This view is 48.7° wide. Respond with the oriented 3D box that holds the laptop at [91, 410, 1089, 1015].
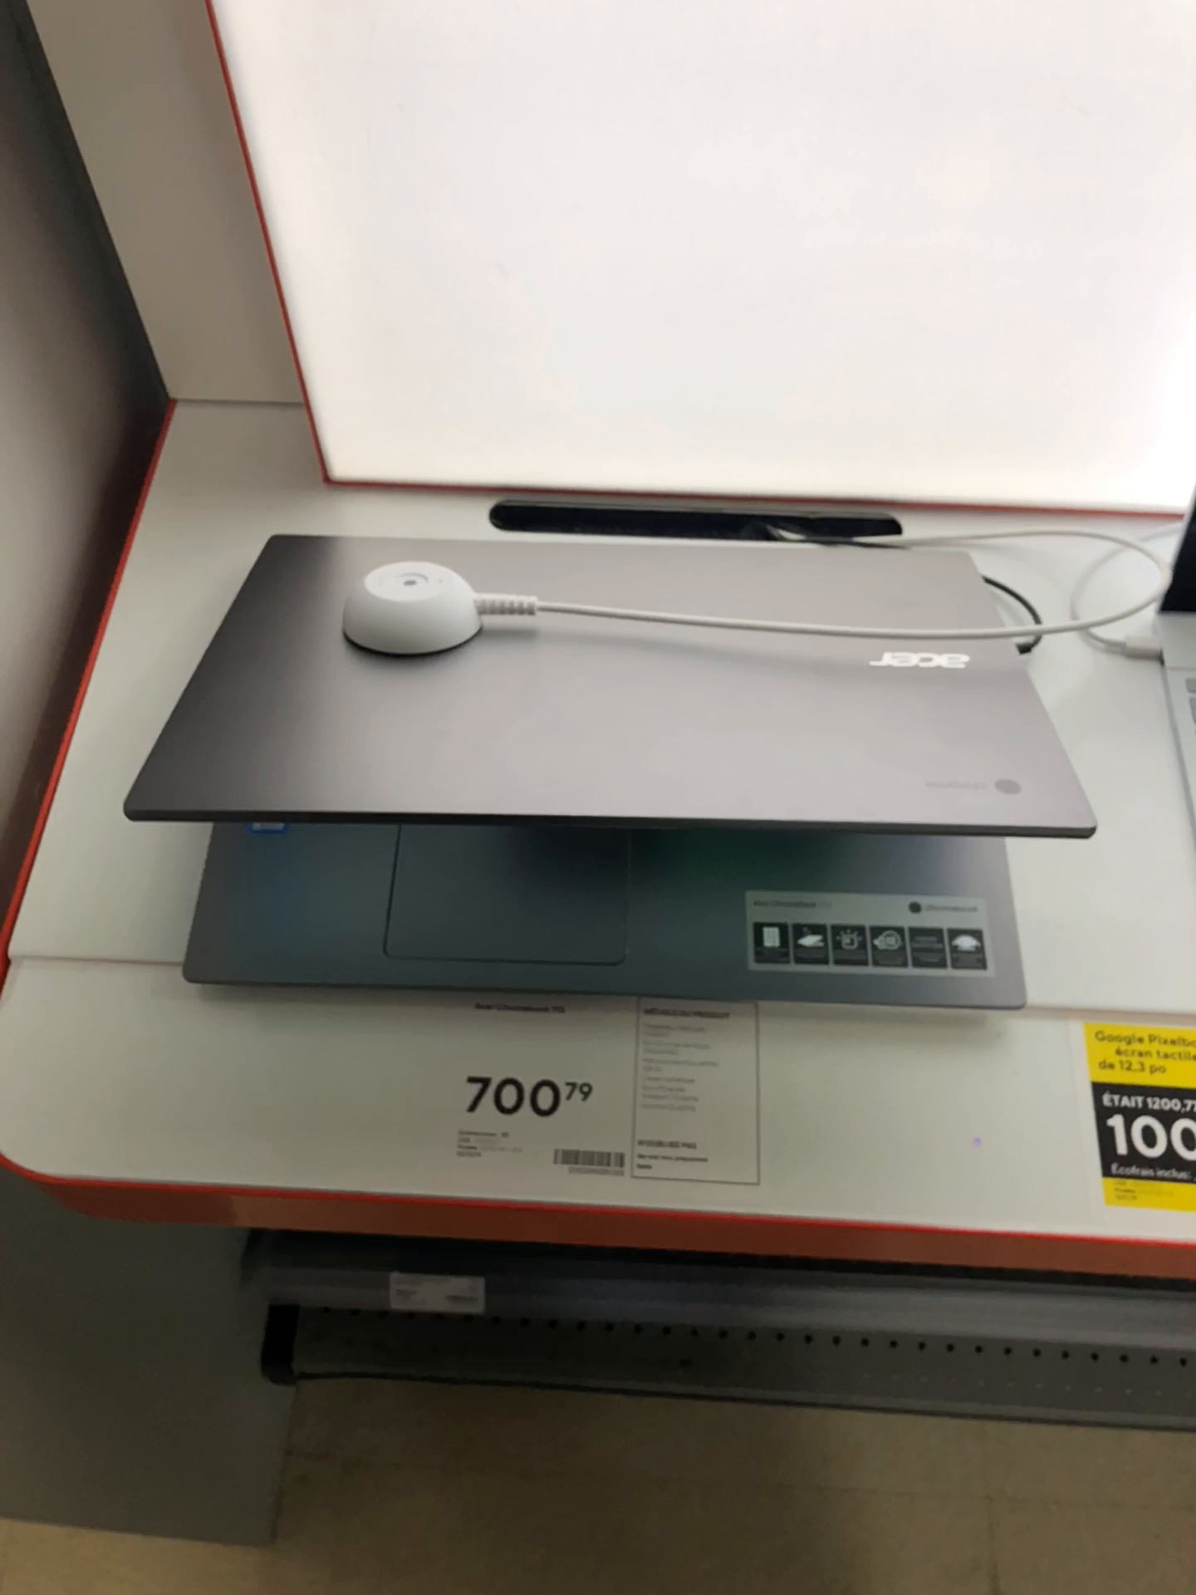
[{"bbox_3d":[0.000,-0.042,0.578,0.356,0.105,0.236,2,58,1],"label":"laptop"}]
